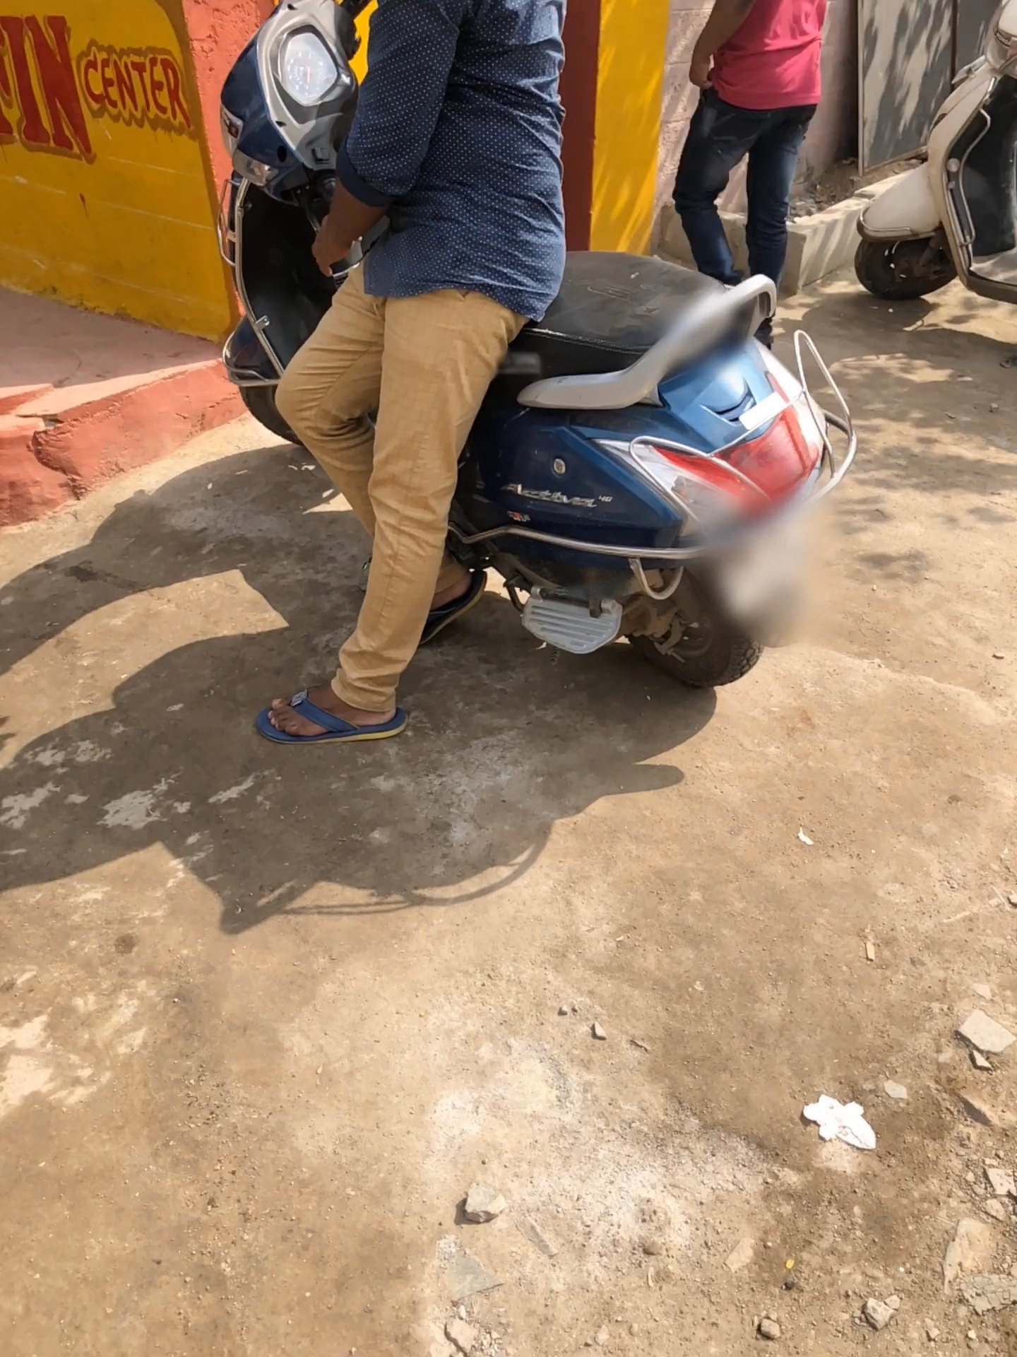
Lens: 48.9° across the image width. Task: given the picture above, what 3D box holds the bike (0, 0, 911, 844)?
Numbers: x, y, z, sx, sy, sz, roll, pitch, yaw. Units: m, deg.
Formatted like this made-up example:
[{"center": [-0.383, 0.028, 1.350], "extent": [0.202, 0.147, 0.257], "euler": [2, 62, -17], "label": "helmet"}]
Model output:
[{"center": [-0.244, -0.636, 2.232], "extent": [1.633, 1.187, 0.628], "euler": [27, 42, 35], "label": "bike"}]
